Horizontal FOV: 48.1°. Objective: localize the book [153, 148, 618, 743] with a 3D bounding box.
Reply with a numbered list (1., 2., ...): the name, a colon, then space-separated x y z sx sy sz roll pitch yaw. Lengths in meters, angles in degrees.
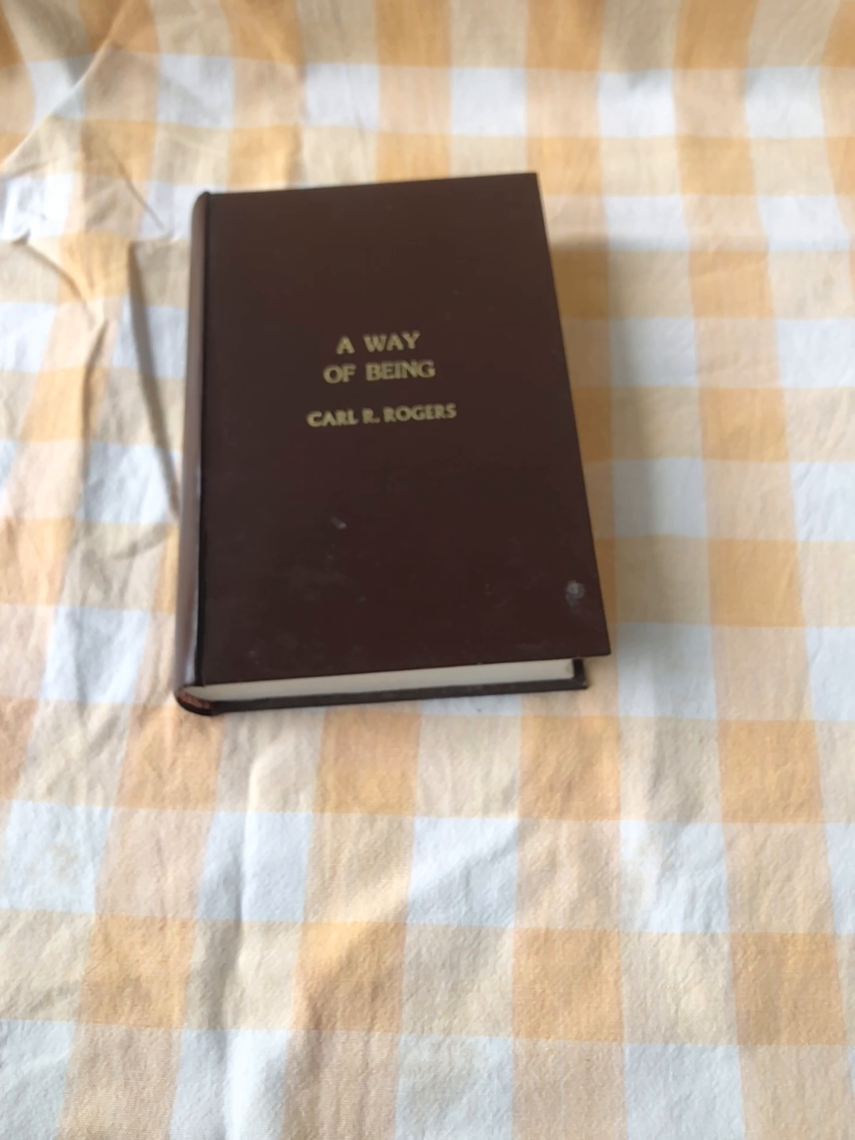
1. book: -0.019 -0.051 0.357 0.140 0.060 0.210 -4 67 -1
